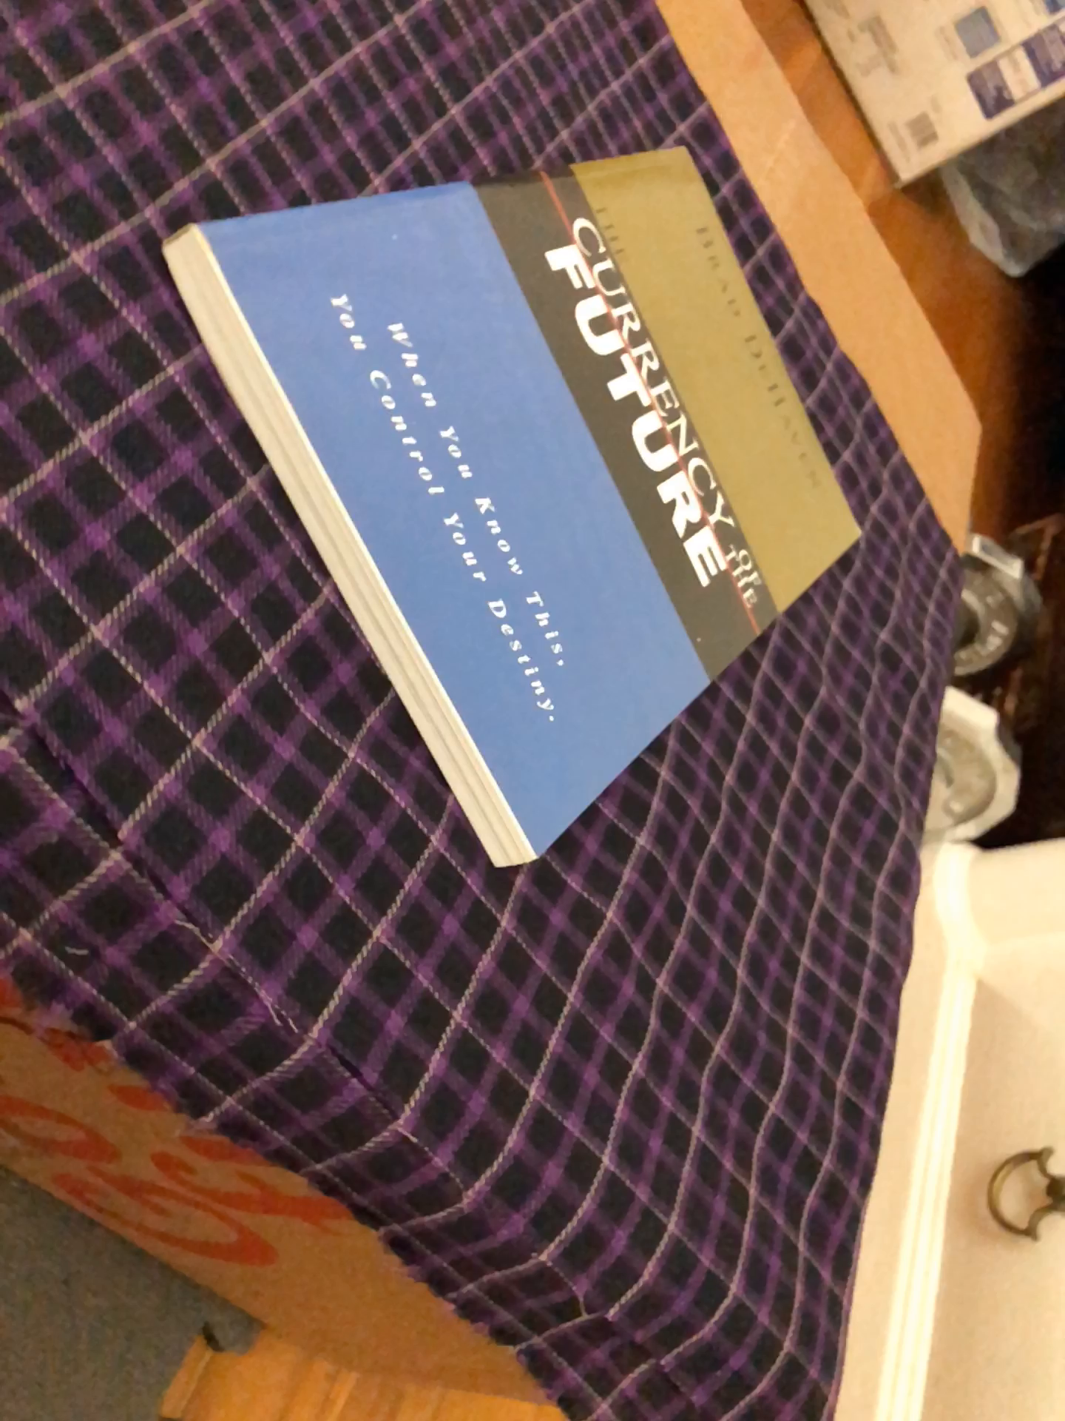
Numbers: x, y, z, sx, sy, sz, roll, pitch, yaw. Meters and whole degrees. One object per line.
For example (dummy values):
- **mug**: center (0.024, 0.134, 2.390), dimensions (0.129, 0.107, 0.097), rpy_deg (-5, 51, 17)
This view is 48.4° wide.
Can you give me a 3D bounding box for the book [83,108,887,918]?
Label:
- **book**: center (0.018, -0.072, 0.304), dimensions (0.221, 0.020, 0.150), rpy_deg (-39, 105, -48)
